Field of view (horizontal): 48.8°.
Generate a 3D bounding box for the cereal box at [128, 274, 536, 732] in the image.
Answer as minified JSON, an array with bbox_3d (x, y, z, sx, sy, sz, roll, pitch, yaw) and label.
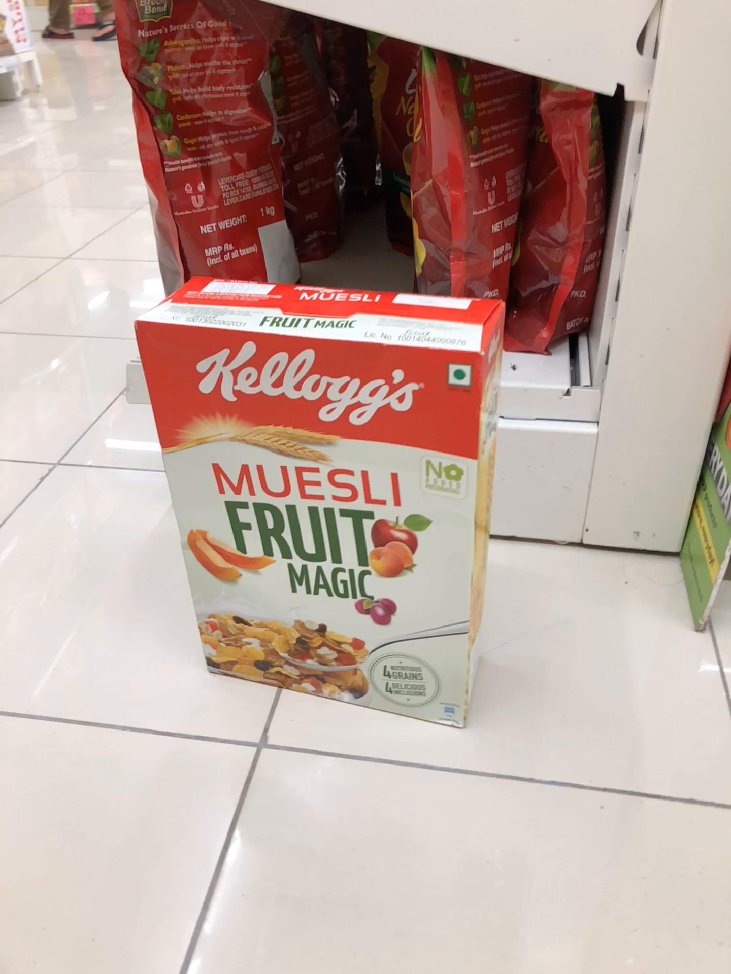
[{"bbox_3d":[-0.011,0.012,0.472,0.190,0.238,0.081,8,35,16],"label":"cereal box"}]
